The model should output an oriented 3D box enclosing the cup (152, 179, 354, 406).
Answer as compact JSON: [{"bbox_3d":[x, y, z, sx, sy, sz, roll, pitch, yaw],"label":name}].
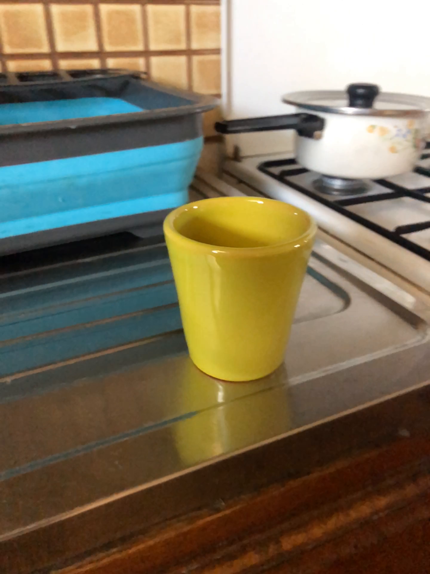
[{"bbox_3d":[0.016,-0.003,0.272,0.080,0.089,0.080,0,28,0],"label":"cup"}]
